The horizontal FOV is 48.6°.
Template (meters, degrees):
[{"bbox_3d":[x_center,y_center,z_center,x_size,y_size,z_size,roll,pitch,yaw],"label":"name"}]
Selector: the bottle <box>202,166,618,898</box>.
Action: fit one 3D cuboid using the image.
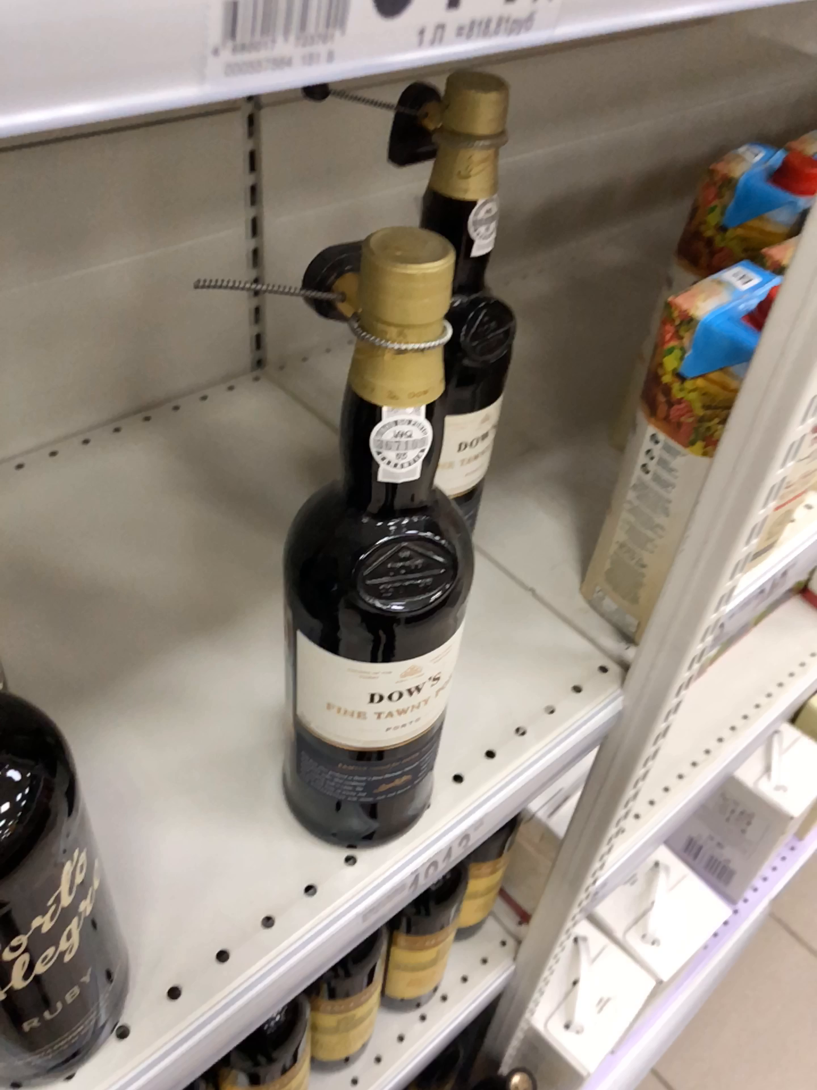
[{"bbox_3d":[-0.012,0.016,0.374,0.090,0.296,0.090,3,43,-3],"label":"bottle"}]
